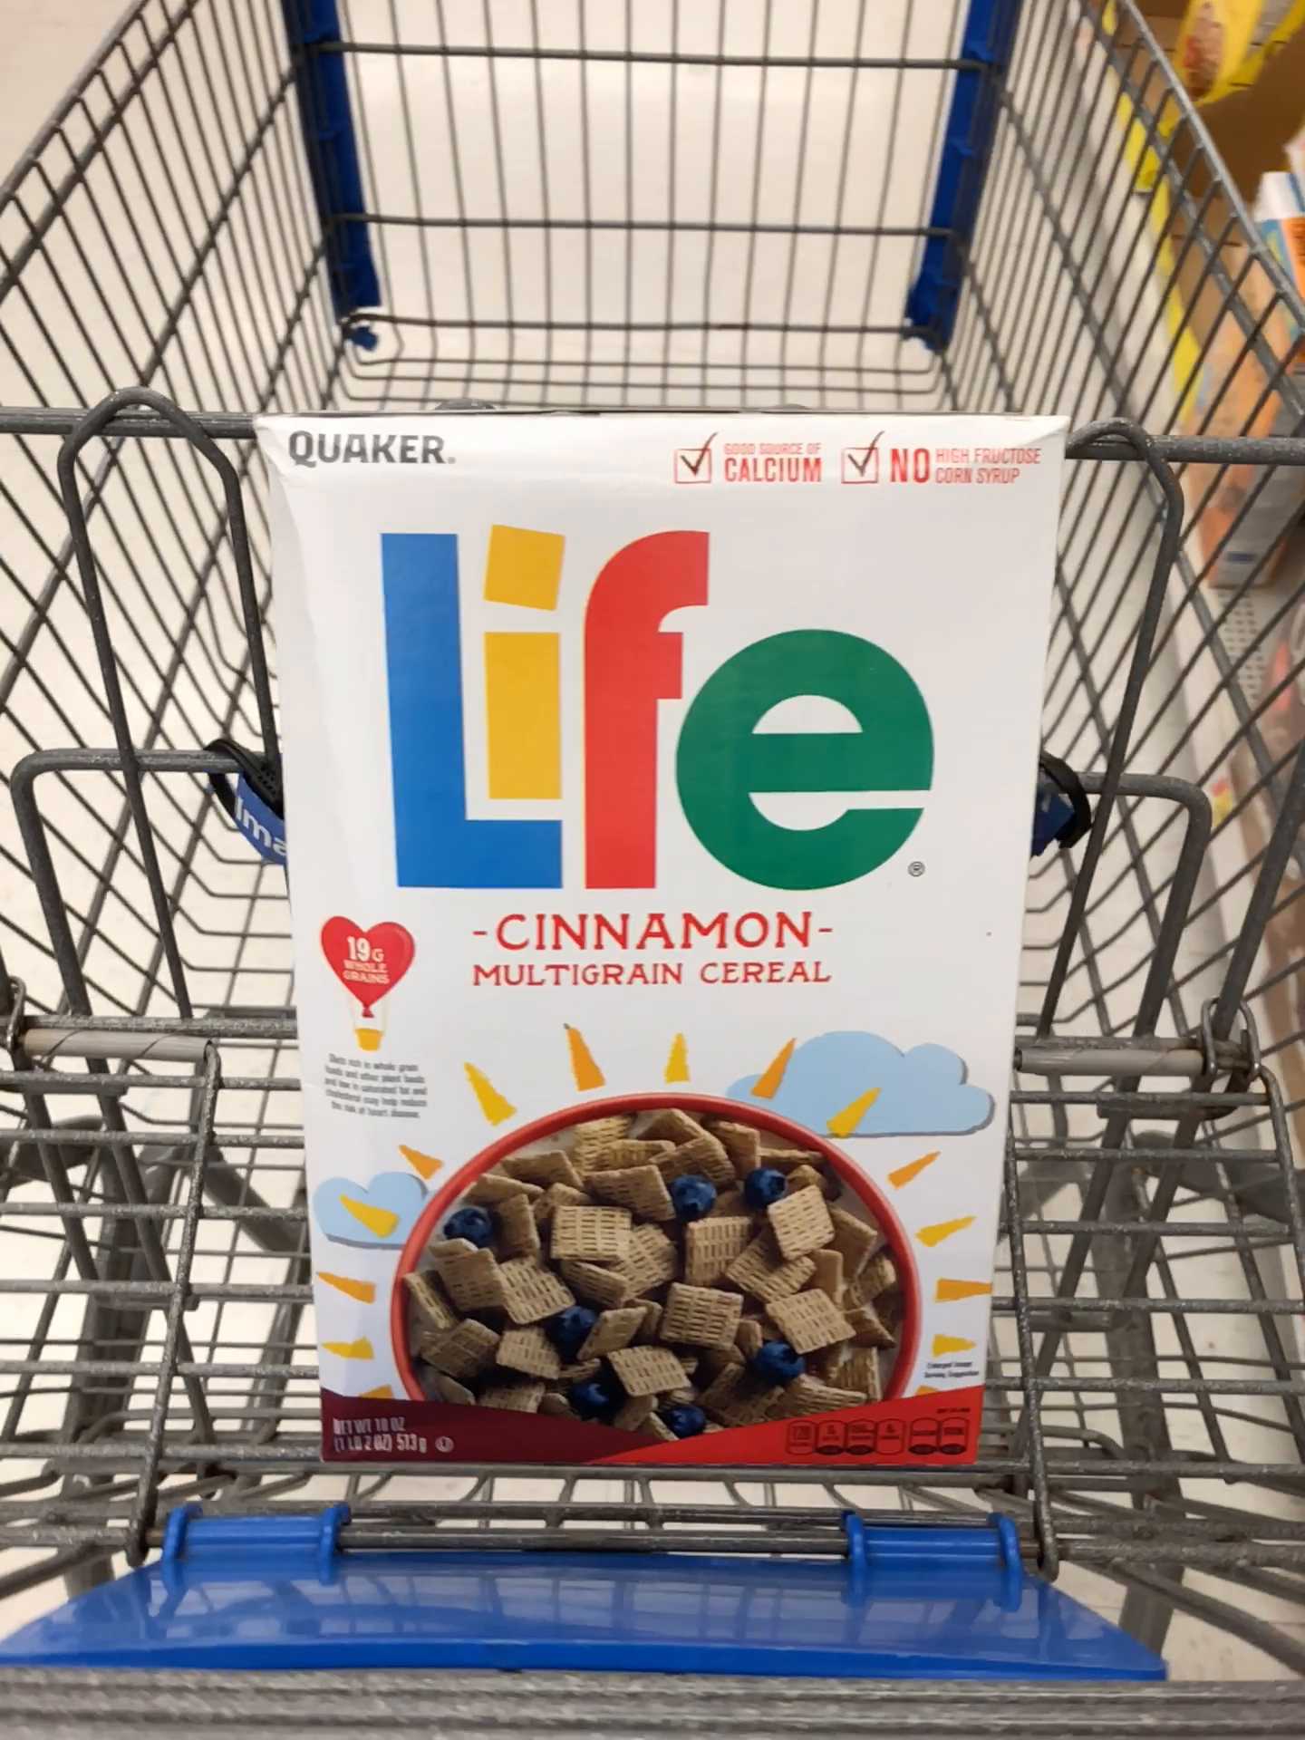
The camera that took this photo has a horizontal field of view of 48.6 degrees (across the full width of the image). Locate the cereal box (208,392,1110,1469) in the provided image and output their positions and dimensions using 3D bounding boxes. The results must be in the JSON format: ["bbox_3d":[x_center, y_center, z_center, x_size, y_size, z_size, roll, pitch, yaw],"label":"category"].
[{"bbox_3d":[0.002,0.020,0.392,0.200,0.280,0.070,0,16,1],"label":"cereal box"}]
